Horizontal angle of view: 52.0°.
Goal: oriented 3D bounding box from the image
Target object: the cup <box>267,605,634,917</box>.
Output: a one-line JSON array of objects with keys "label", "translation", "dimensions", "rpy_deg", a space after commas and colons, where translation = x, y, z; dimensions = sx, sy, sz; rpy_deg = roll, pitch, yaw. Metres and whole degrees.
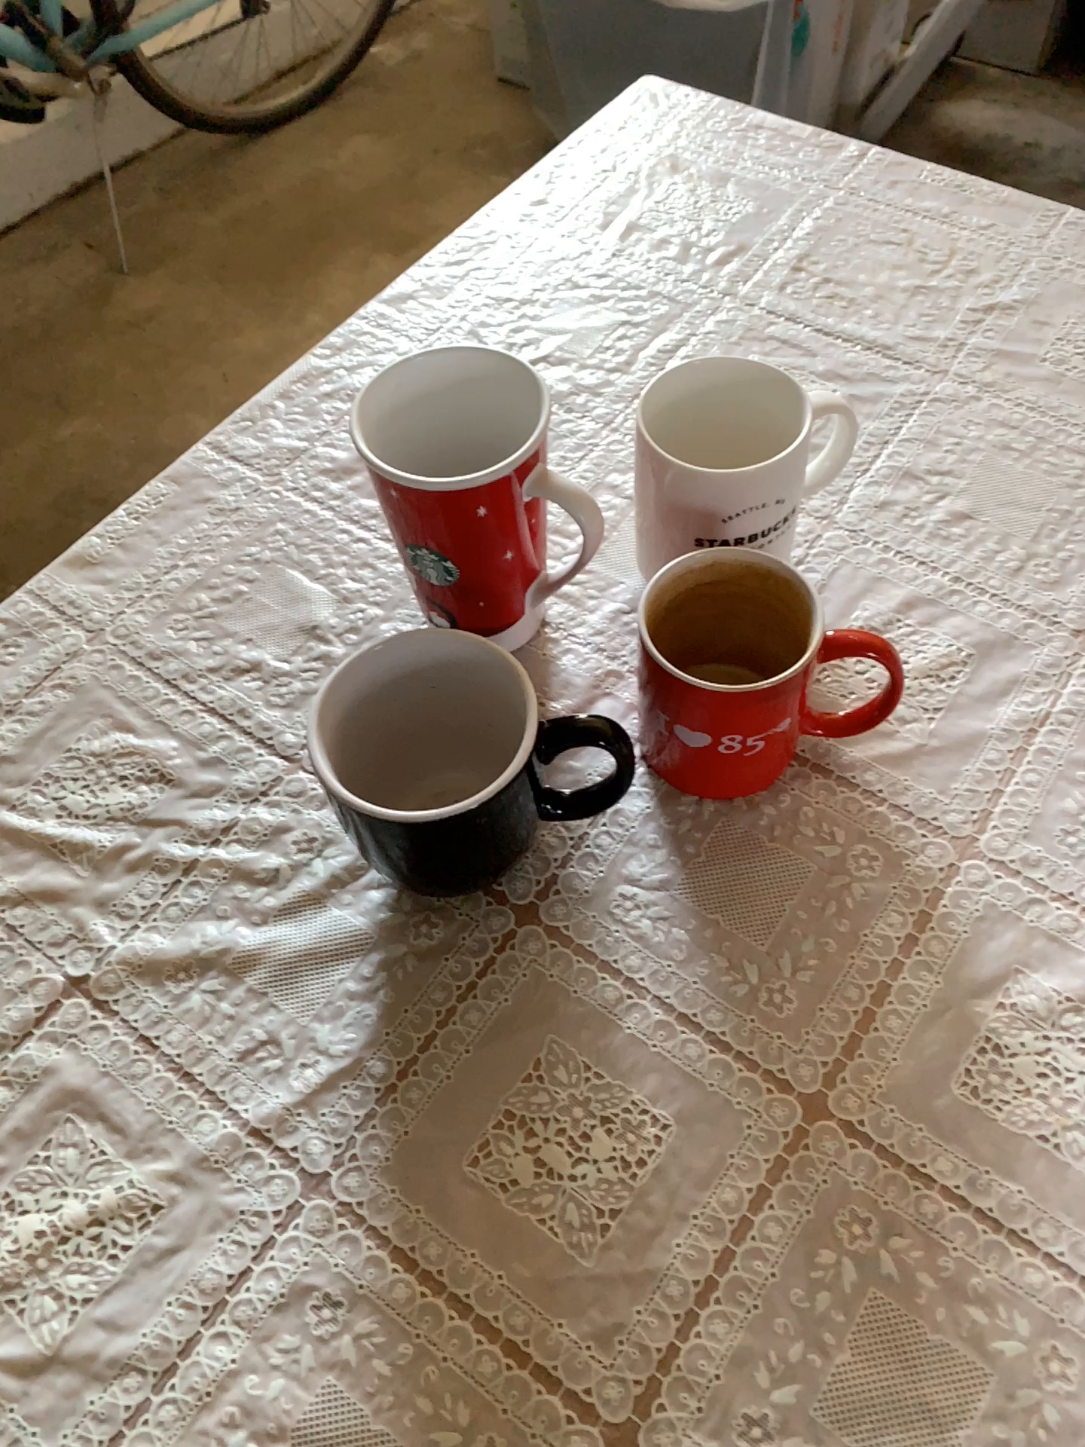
[{"label": "cup", "translation": [-0.038, 0.019, 0.517], "dimensions": [0.150, 0.090, 0.100], "rpy_deg": [-5, 56, 1]}]

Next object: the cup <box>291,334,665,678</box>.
[{"label": "cup", "translation": [-0.025, -0.106, 0.536], "dimensions": [0.140, 0.090, 0.100], "rpy_deg": [17, 59, 15]}]

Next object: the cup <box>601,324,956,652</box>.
[{"label": "cup", "translation": [0.115, -0.122, 0.578], "dimensions": [0.140, 0.090, 0.100], "rpy_deg": [-18, 57, -8]}]

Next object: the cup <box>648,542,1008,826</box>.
[{"label": "cup", "translation": [0.116, -0.015, 0.490], "dimensions": [0.130, 0.090, 0.080], "rpy_deg": [-3, 56, 2]}]
